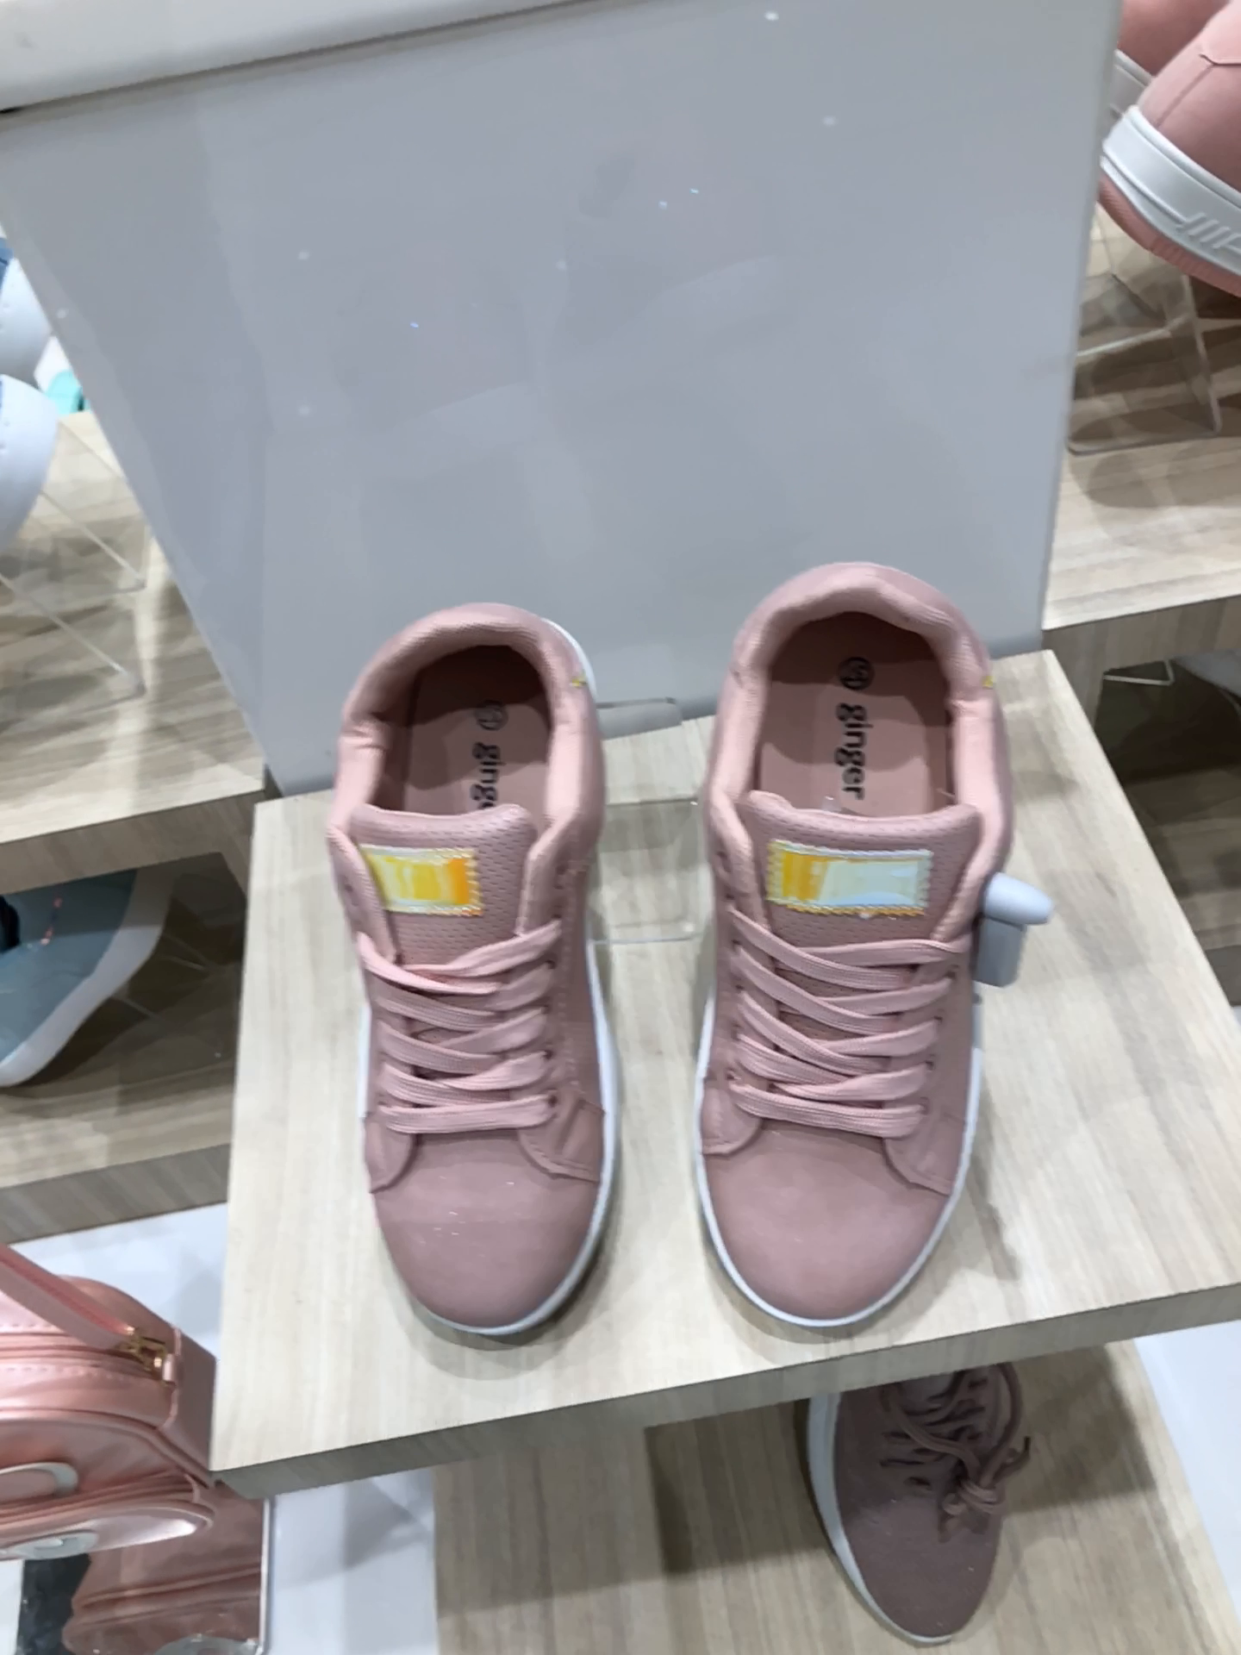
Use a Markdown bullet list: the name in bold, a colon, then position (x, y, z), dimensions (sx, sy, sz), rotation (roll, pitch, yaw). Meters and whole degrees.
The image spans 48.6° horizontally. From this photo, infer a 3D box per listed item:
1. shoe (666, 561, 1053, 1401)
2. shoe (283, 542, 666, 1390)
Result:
- **shoe**: position (0.081, 0.041, 0.463), dimensions (0.100, 0.250, 0.100), rotation (4, 8, 15)
- **shoe**: position (-0.046, 0.043, 0.480), dimensions (0.100, 0.100, 0.260), rotation (-2, 90, 11)
